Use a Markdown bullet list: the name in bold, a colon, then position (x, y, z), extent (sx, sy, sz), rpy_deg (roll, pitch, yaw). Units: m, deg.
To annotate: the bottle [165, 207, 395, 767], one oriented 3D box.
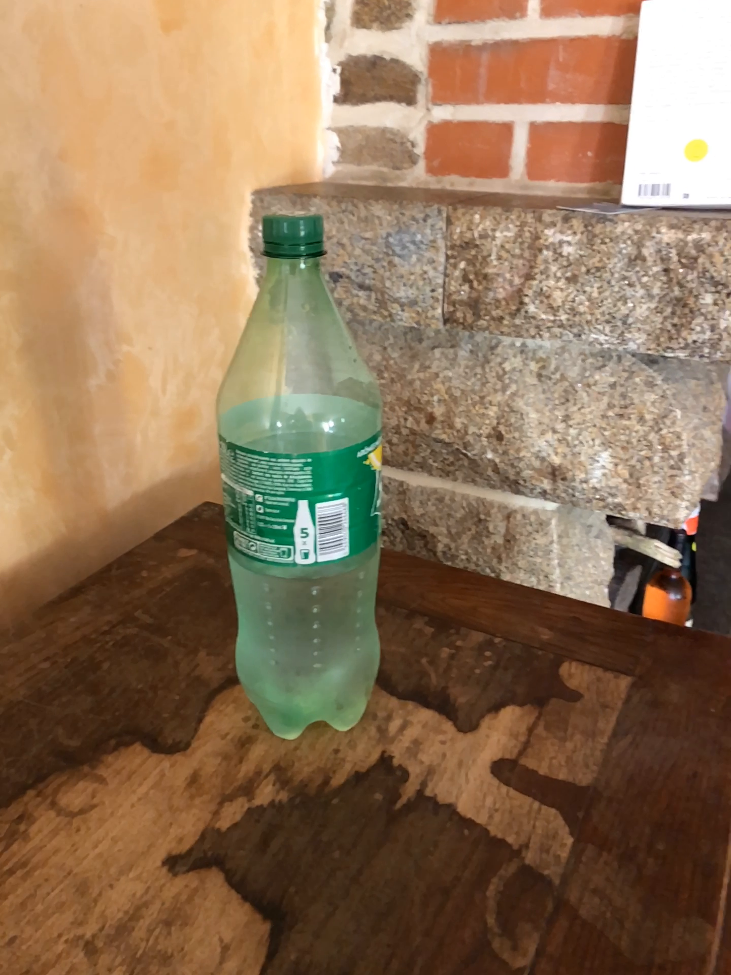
- **bottle**: position (-0.045, 0.001, 0.432), extent (0.090, 0.278, 0.090), rpy_deg (1, 24, 0)
